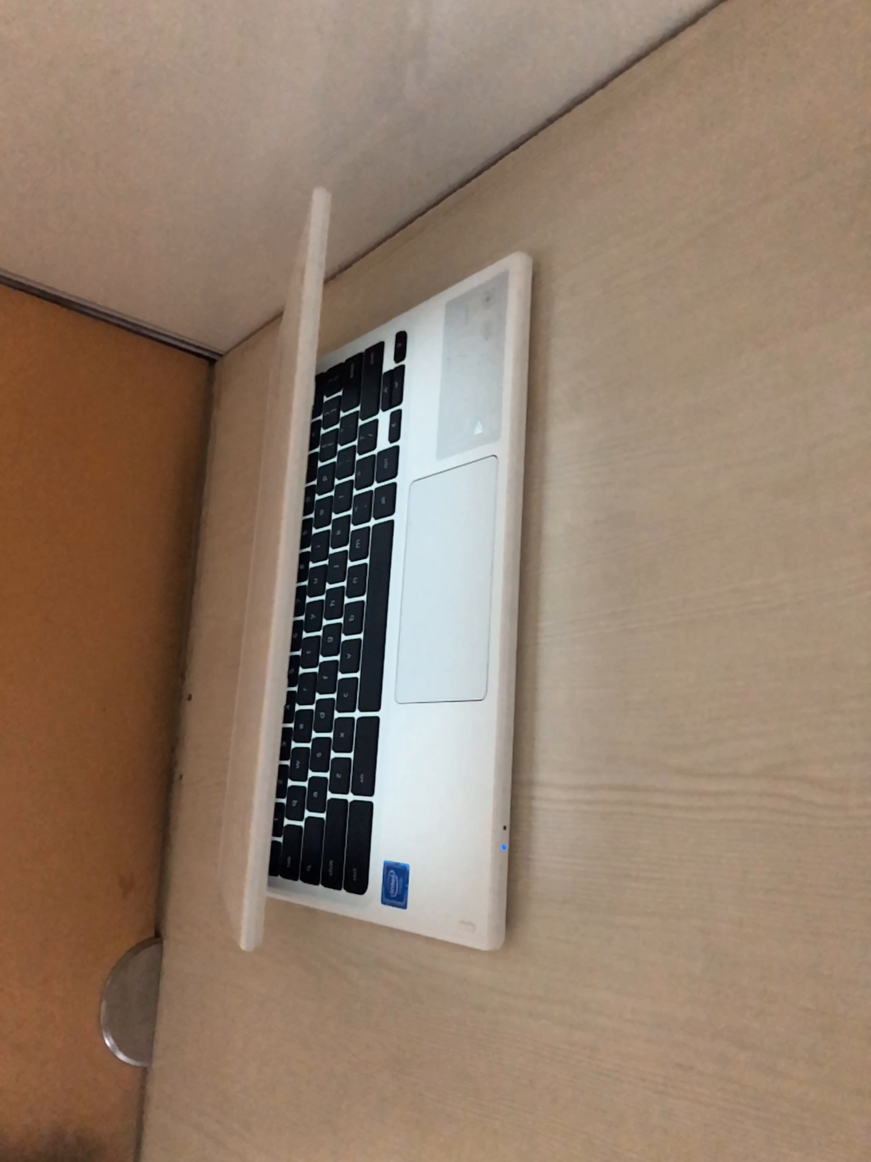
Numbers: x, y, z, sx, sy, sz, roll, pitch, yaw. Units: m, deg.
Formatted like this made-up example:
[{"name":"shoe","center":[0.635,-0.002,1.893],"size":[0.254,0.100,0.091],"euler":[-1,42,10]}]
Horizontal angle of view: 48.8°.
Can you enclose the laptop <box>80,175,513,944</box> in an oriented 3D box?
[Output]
[{"name":"laptop","center":[-0.070,0.002,0.449],"size":[0.201,0.092,0.283],"euler":[-13,70,52]}]
